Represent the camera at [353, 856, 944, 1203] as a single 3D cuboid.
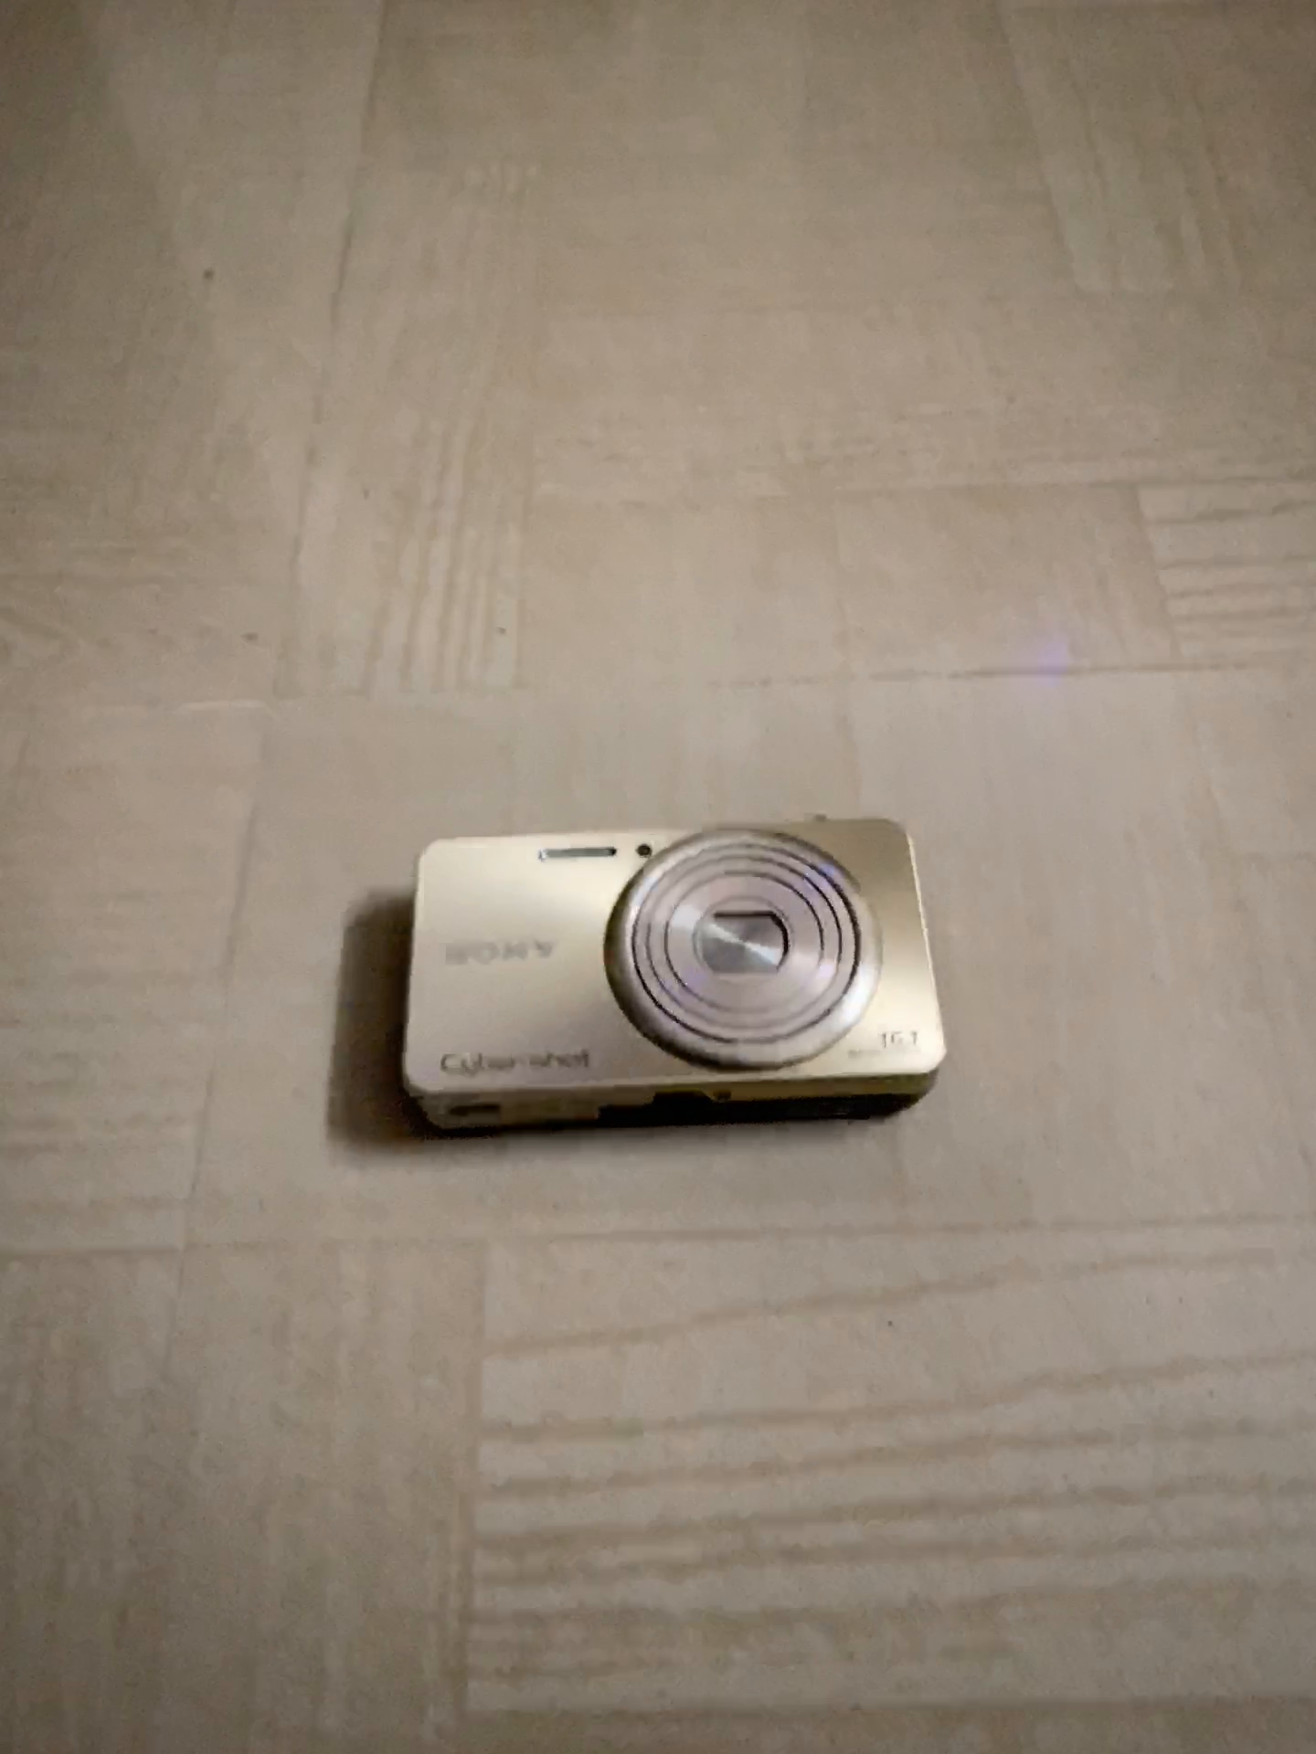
[{"bbox_3d":[-0.002,0.027,0.249,0.097,0.019,0.057,-2,58,0],"label":"camera"}]
